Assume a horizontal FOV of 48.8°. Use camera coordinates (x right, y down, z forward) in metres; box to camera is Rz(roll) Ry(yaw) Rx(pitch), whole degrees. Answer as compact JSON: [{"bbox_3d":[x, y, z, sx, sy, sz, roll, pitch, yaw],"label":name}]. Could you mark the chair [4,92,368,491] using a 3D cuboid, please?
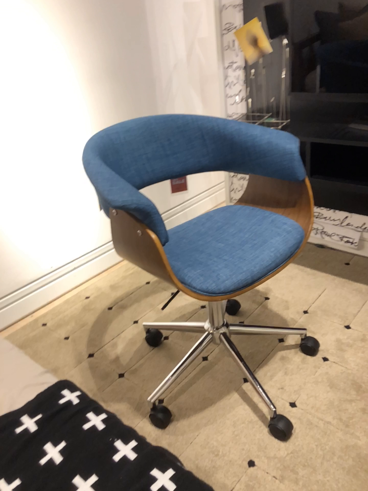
[{"bbox_3d":[0.048,0.037,1.134,0.672,0.774,0.613,20,38,41],"label":"chair"}]
